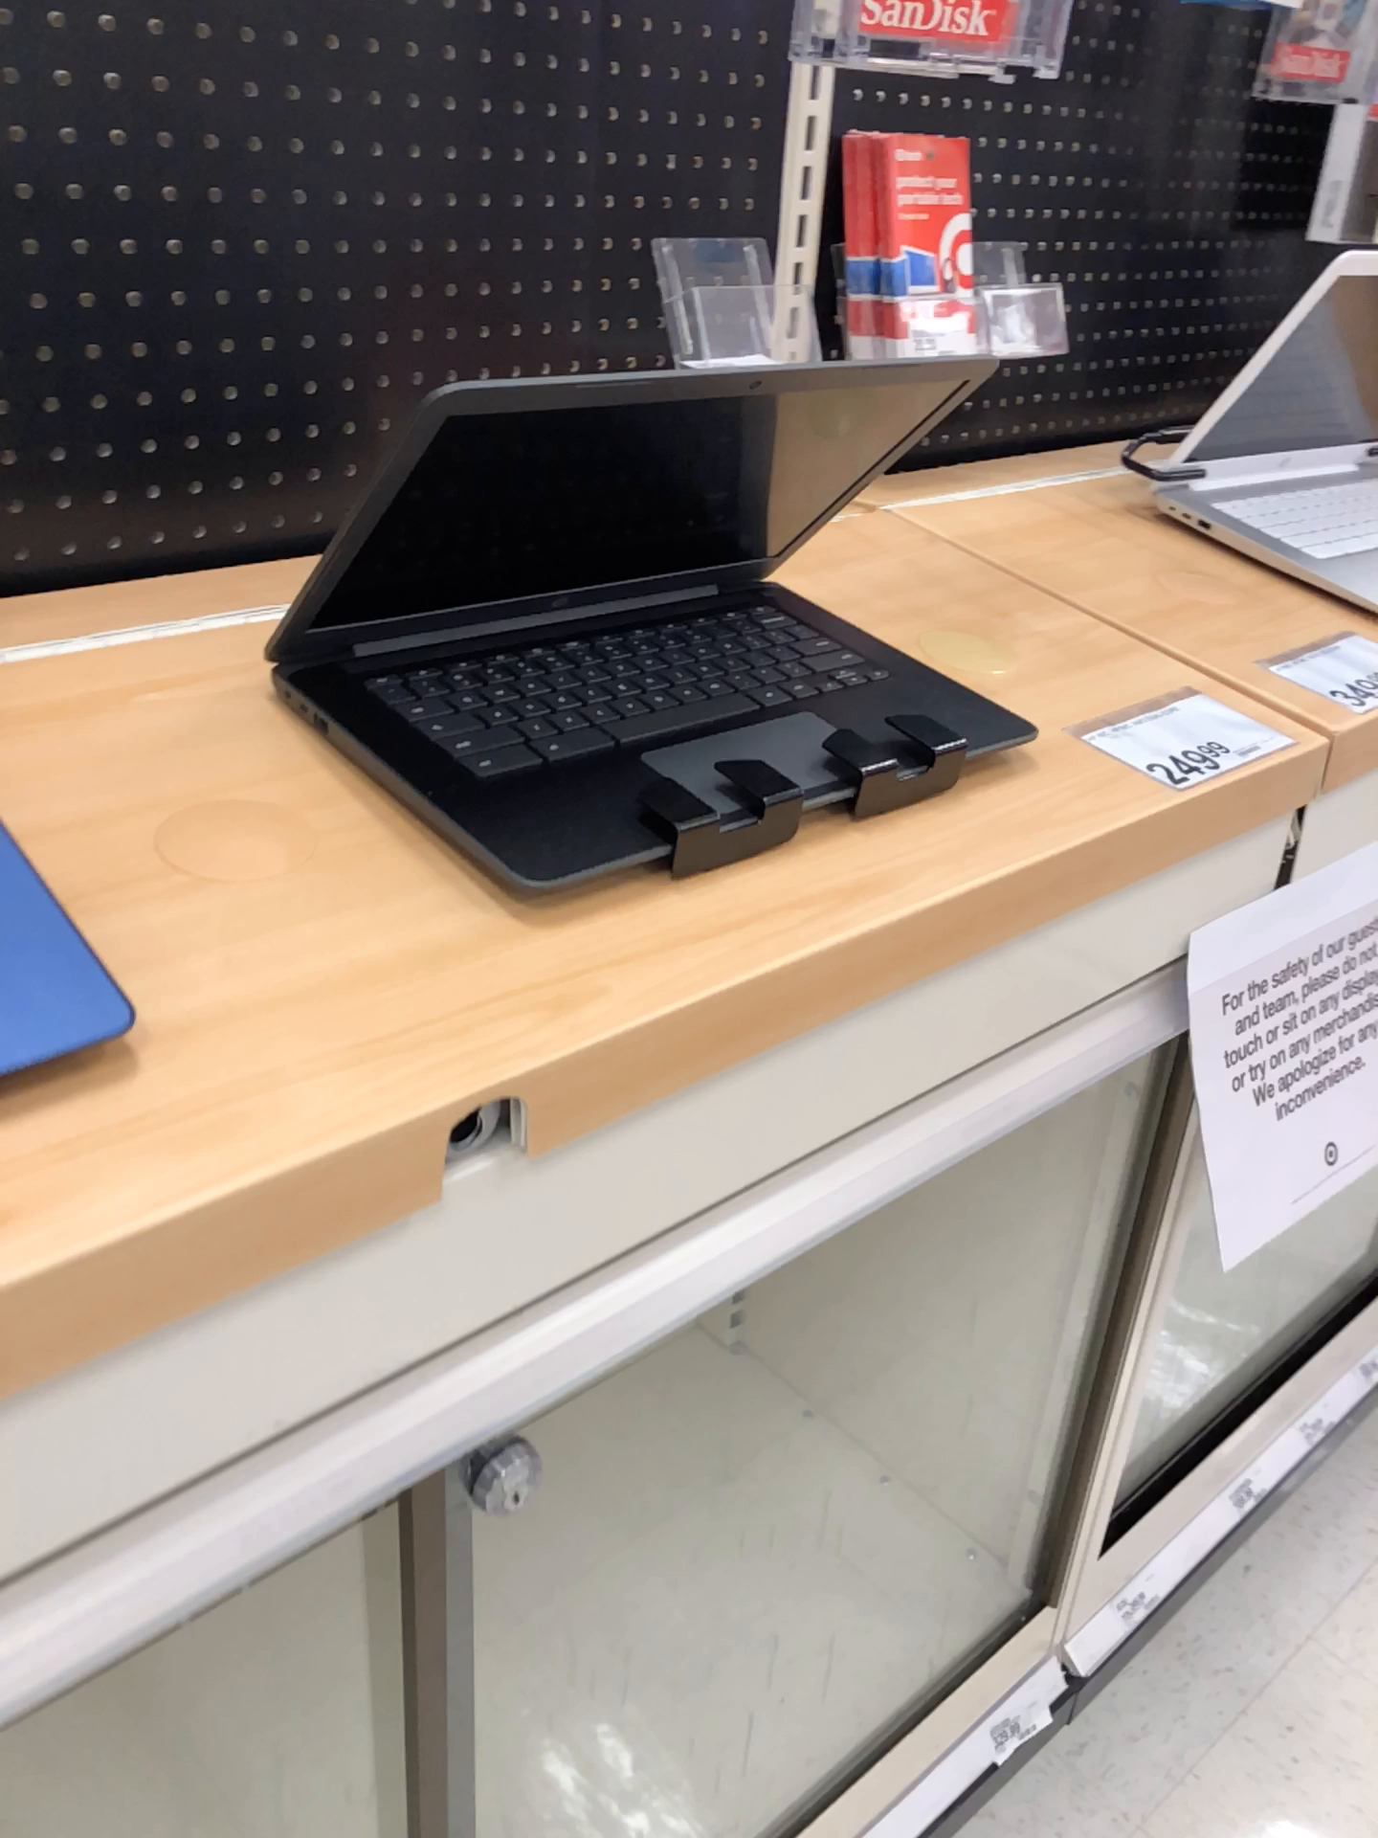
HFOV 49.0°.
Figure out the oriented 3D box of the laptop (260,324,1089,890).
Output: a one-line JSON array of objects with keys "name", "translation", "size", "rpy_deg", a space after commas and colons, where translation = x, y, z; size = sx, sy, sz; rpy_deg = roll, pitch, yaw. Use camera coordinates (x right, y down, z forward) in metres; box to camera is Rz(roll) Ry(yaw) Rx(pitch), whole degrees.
[{"name": "laptop", "translation": [0.000, -0.168, 0.702], "size": [0.319, 0.144, 0.200], "rpy_deg": [-19, 41, -38]}]
